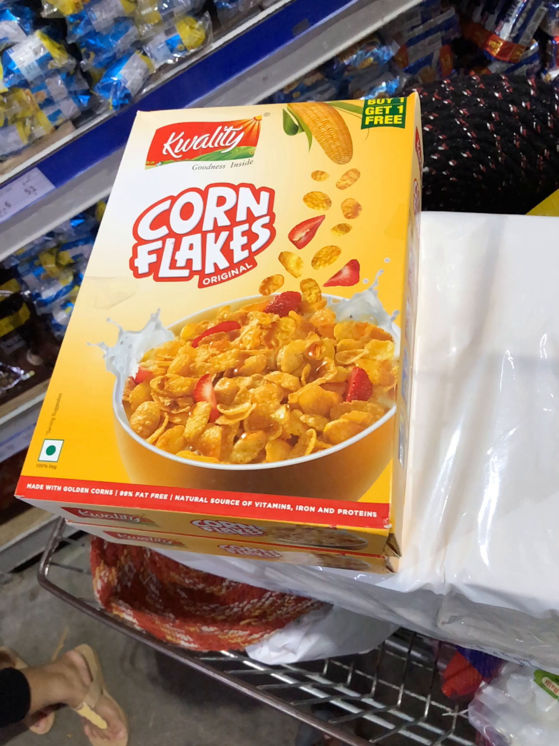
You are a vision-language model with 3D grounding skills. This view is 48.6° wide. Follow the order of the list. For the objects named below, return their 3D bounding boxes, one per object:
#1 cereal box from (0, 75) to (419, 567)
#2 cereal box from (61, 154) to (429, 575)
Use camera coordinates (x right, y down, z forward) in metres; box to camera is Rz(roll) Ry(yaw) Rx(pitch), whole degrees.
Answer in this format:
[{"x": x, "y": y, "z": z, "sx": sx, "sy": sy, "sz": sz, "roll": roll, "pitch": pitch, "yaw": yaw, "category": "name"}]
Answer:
[{"x": -0.024, "y": -0.040, "z": 0.348, "sx": 0.190, "sy": 0.060, "sz": 0.261, "roll": 1, "pitch": 66, "yaw": 15, "category": "cereal box"}, {"x": -0.006, "y": -0.015, "z": 0.416, "sx": 0.200, "sy": 0.070, "sz": 0.261, "roll": 1, "pitch": 66, "yaw": 15, "category": "cereal box"}]
